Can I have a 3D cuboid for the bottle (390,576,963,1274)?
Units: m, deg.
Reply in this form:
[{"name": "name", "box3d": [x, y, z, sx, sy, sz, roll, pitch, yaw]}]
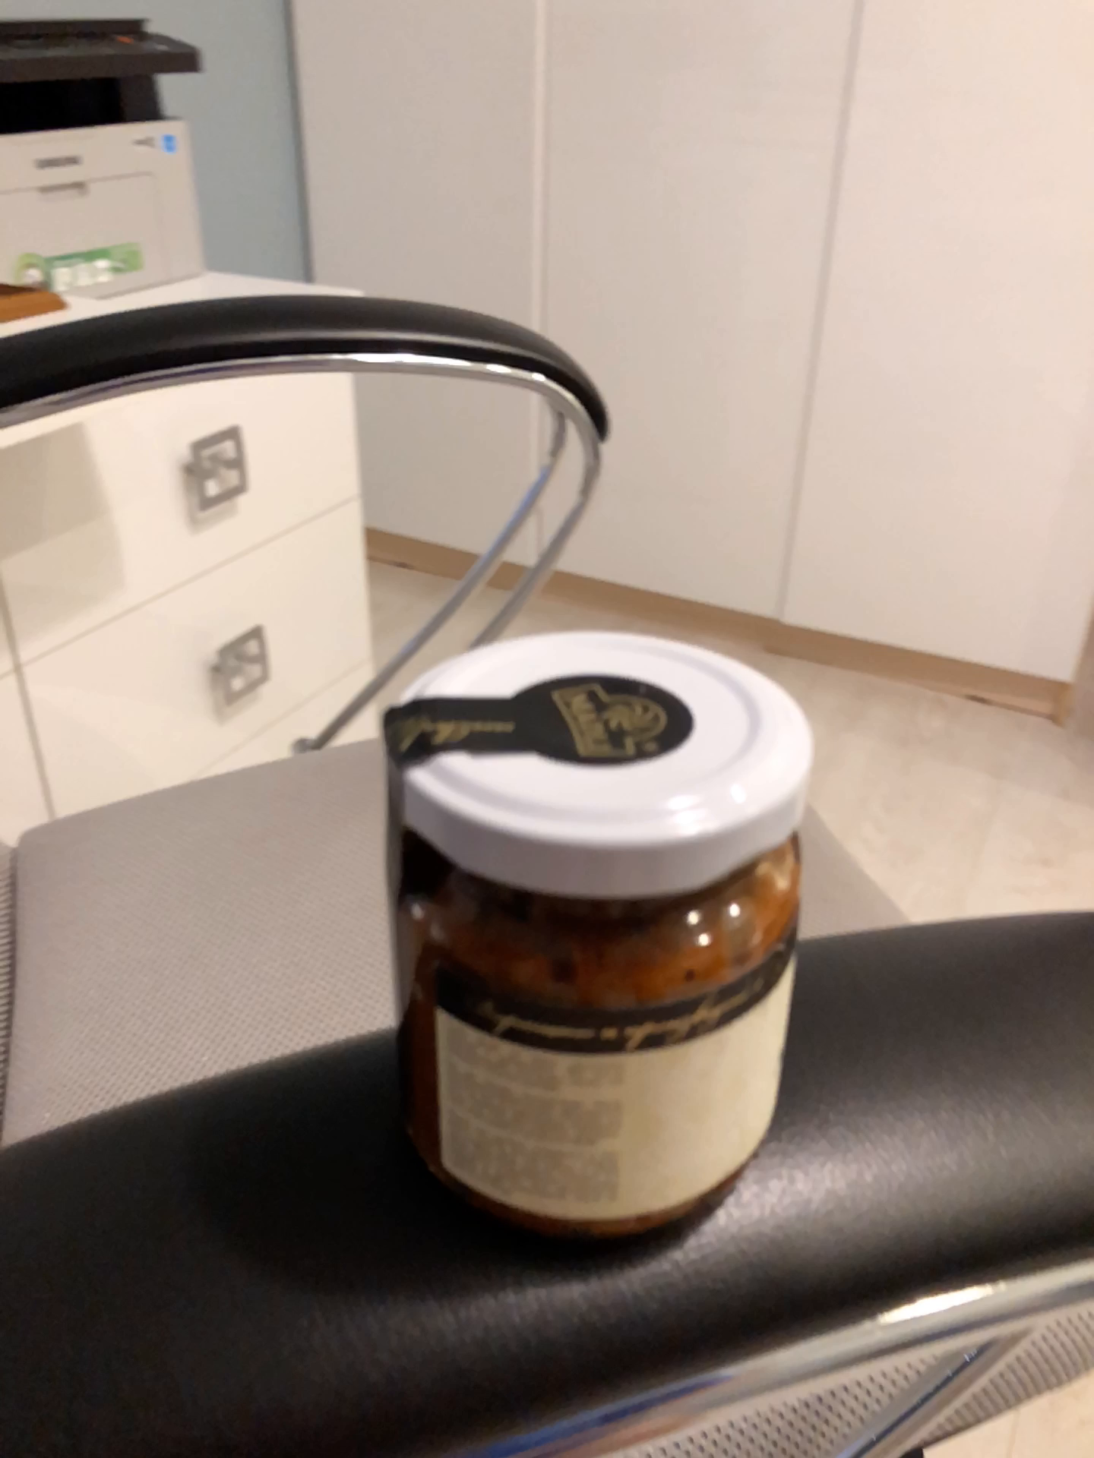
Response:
[{"name": "bottle", "box3d": [0.010, 0.024, 0.168, 0.060, 0.070, 0.060, -2, 30, -6]}]
